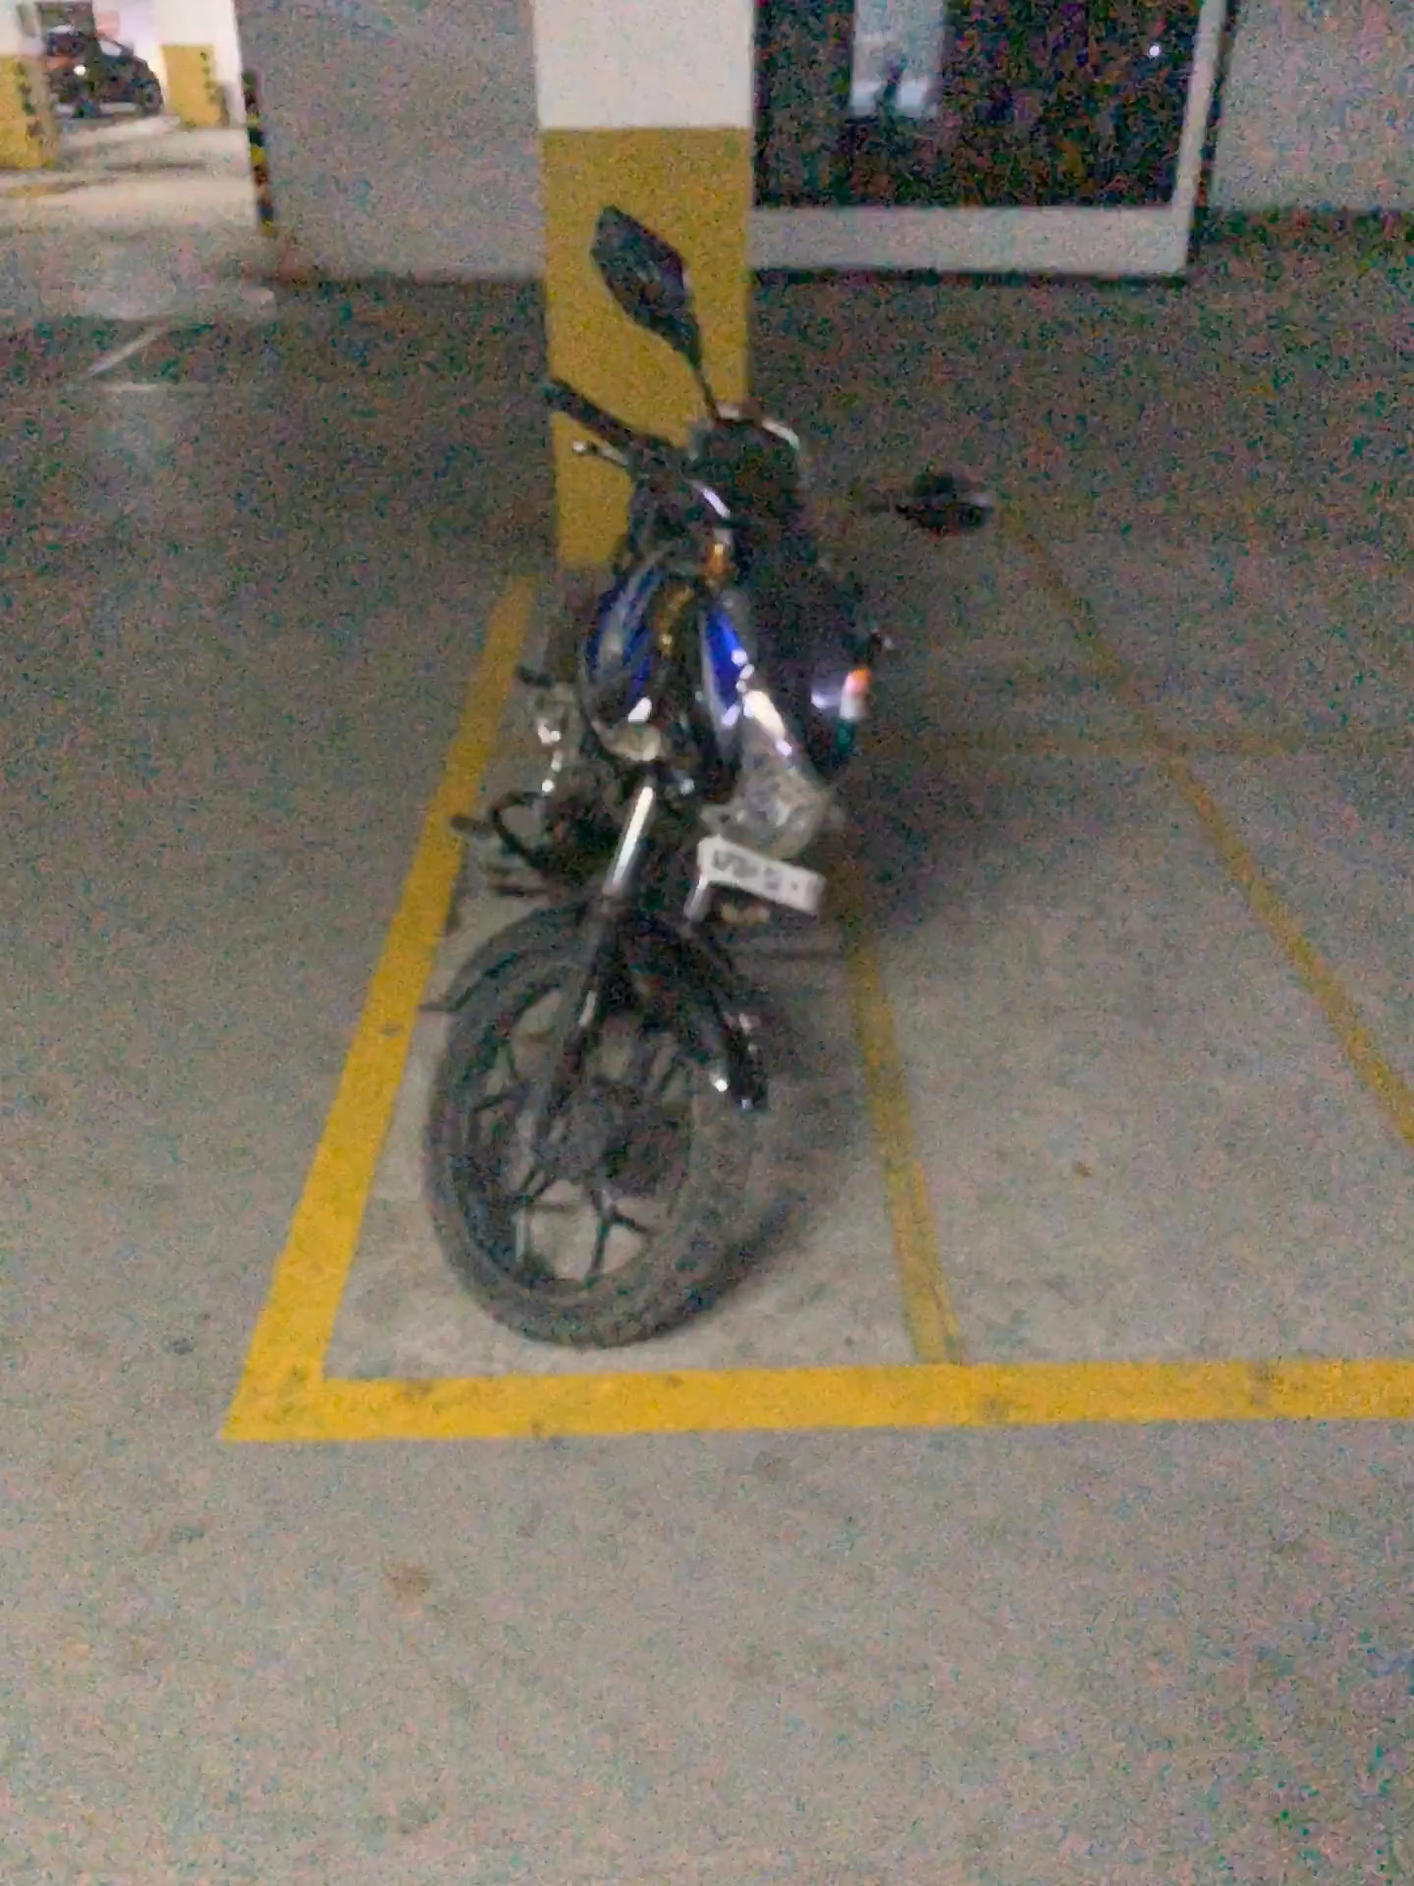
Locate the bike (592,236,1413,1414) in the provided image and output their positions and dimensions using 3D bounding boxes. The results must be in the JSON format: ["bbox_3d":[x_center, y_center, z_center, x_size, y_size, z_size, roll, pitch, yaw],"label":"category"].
[{"bbox_3d":[0.264,-0.465,2.570,0.850,1.205,2.224,-2,31,-4],"label":"bike"}]
